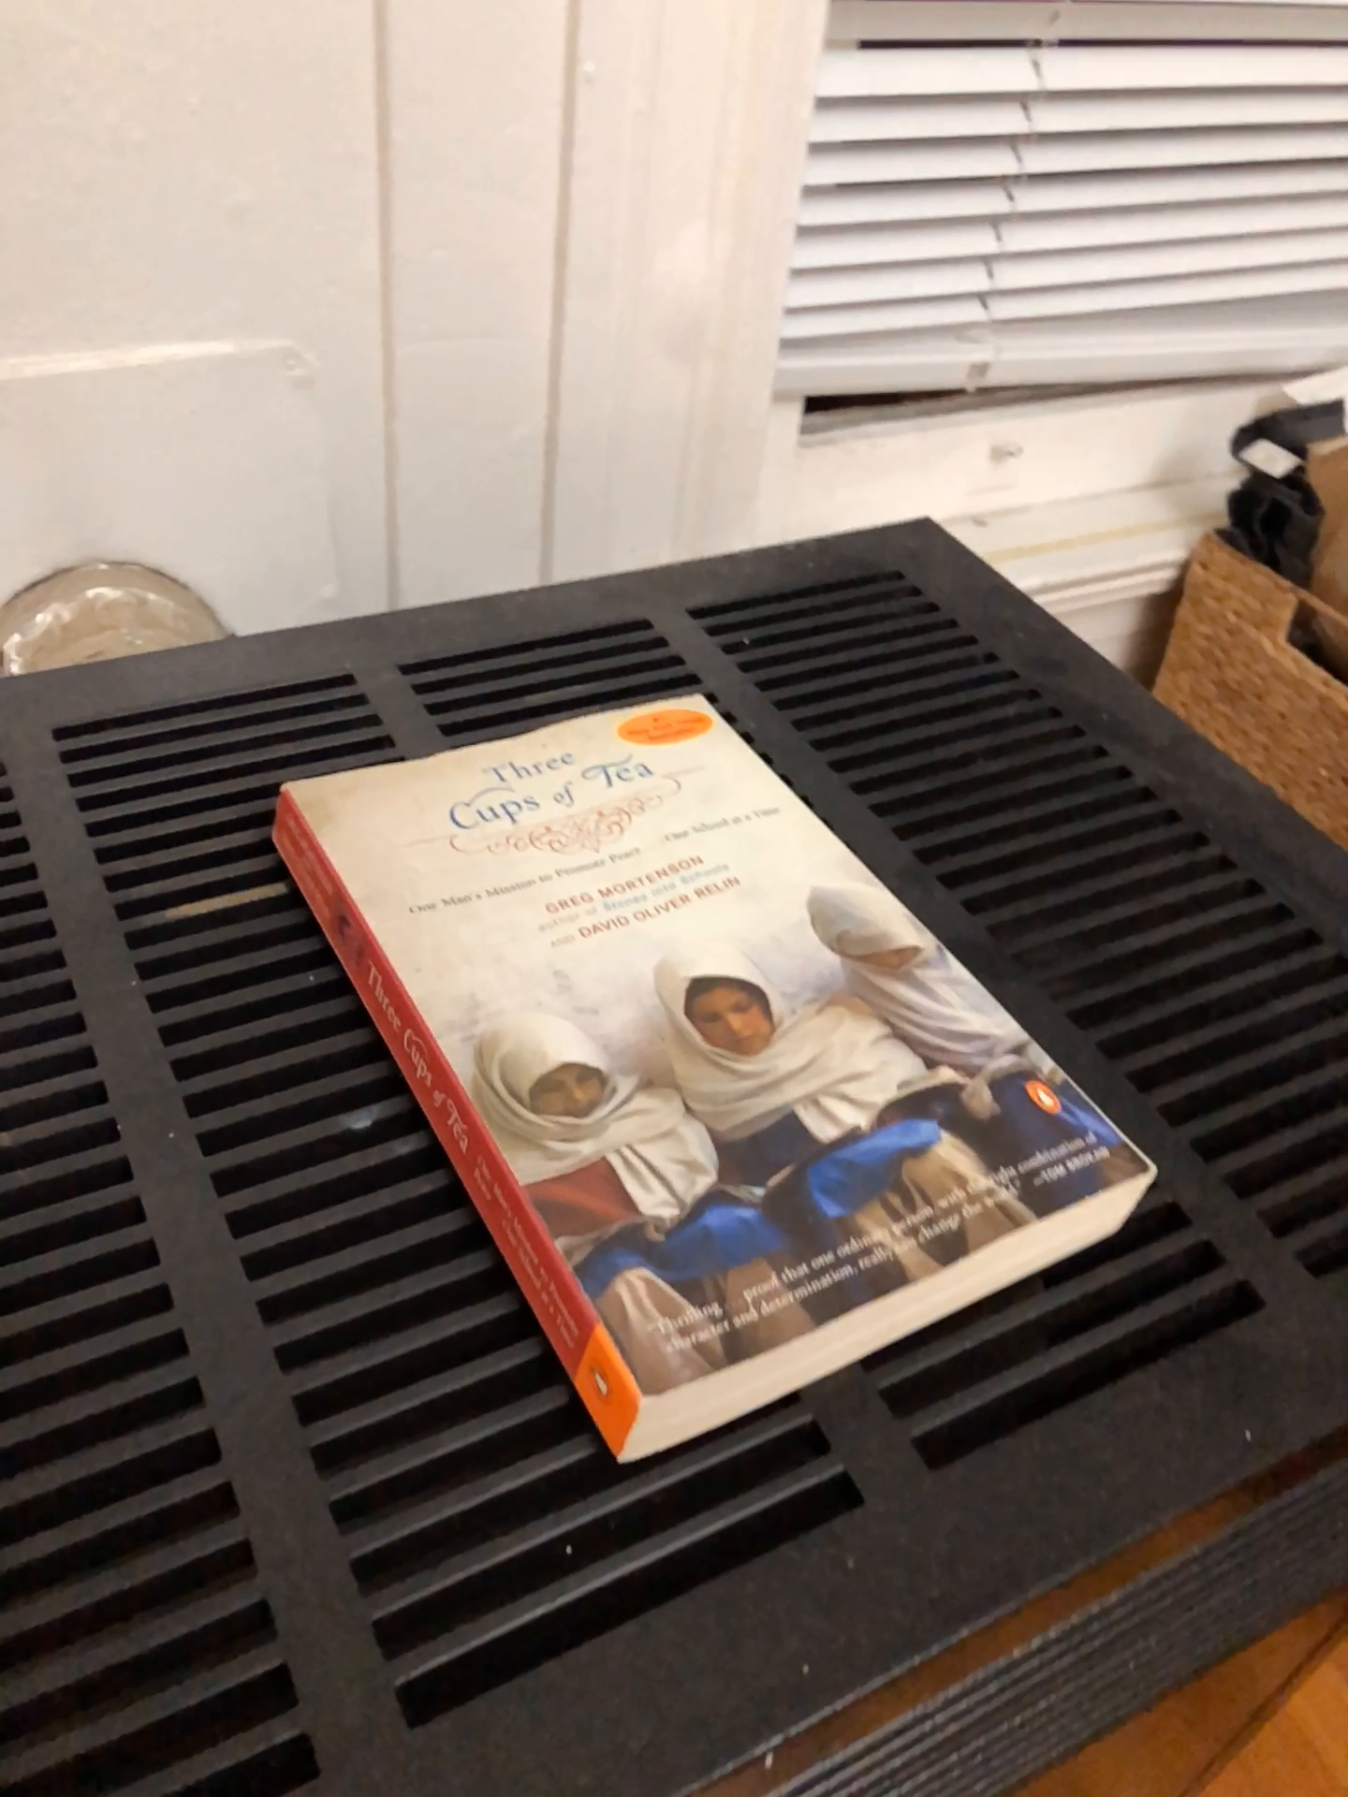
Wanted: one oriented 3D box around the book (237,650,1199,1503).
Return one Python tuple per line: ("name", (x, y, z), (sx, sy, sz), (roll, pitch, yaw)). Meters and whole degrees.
("book", (-0.003, 0.019, 0.373), (0.140, 0.030, 0.221), (-18, 46, -26))
